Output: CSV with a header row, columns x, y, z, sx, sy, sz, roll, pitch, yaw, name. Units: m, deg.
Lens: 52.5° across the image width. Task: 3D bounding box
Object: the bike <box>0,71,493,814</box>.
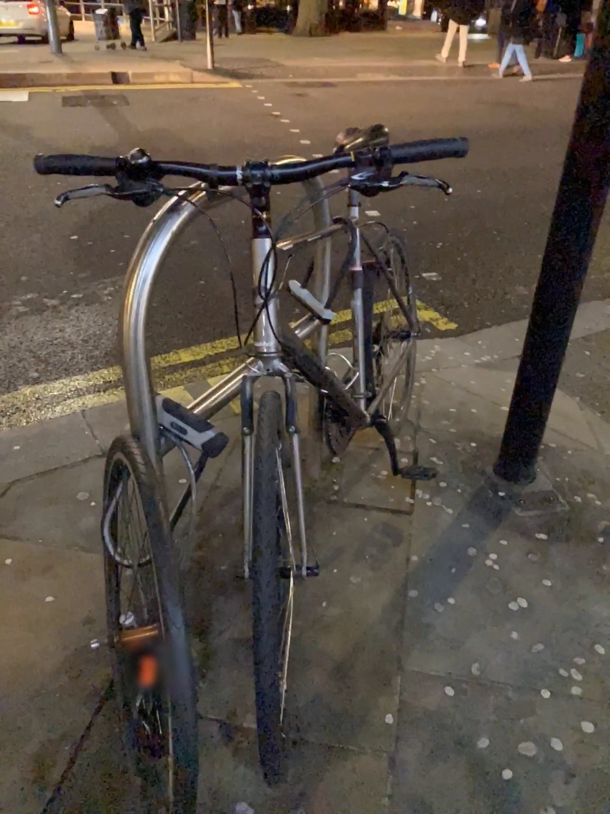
x,y,z,sx,sy,sz,roll,pitch,yaw,name
0.013,-0.156,1.581,0.708,1.124,1.830,9,33,12,bike
